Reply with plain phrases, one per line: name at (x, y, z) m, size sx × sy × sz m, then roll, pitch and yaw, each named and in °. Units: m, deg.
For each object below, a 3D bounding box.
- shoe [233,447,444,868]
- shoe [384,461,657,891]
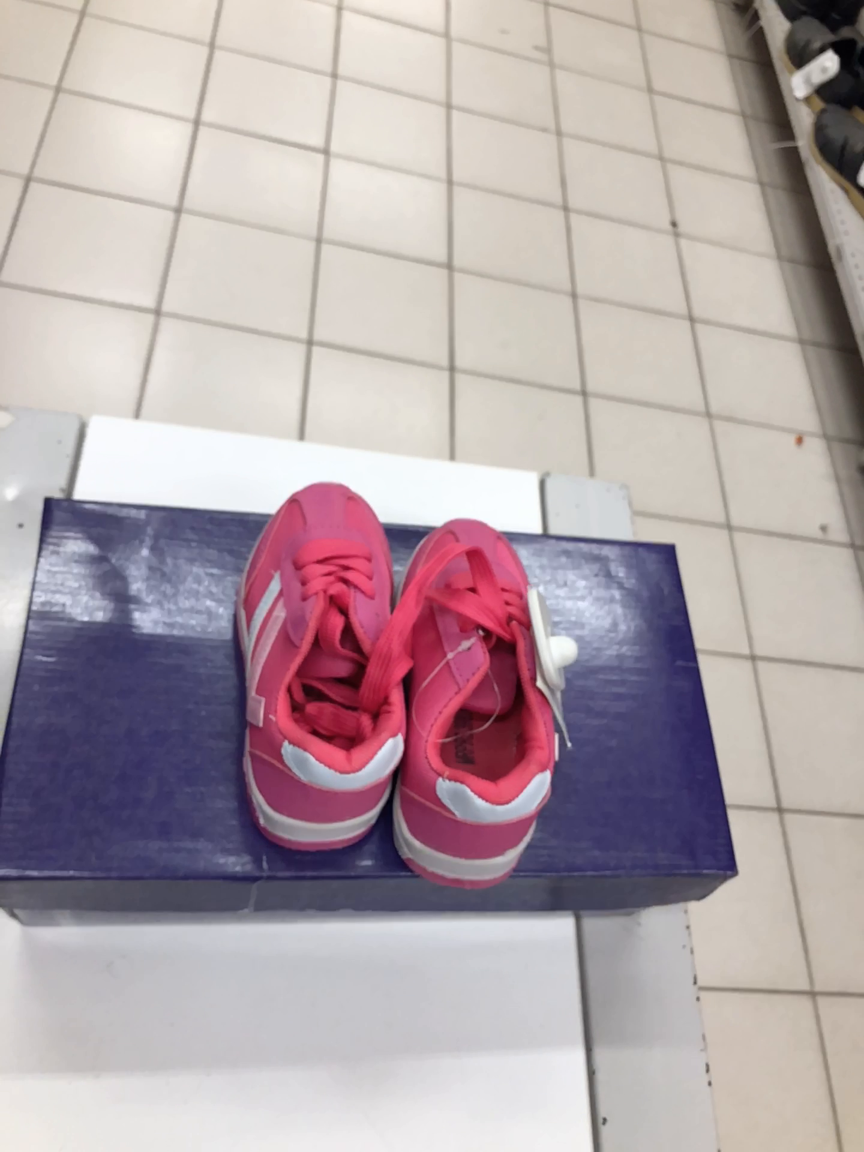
shoe at (-0.044, 0.038, 0.432) m, size 0.070 × 0.090 × 0.161 m, roll 6°, pitch 59°, yaw -15°
shoe at (0.029, 0.046, 0.423) m, size 0.080 × 0.090 × 0.161 m, roll 6°, pitch 59°, yaw -15°
